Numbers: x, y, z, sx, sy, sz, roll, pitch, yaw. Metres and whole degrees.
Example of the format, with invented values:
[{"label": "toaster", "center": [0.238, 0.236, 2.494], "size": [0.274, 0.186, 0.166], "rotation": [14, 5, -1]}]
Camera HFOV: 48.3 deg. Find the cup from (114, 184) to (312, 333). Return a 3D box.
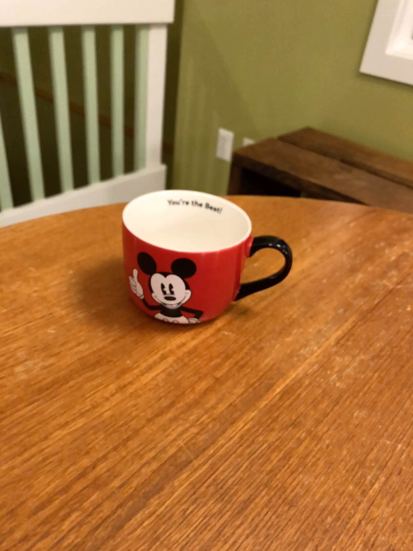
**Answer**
[{"label": "cup", "center": [0.002, -0.017, 0.391], "size": [0.142, 0.069, 0.103], "rotation": [5, 34, -3]}]
